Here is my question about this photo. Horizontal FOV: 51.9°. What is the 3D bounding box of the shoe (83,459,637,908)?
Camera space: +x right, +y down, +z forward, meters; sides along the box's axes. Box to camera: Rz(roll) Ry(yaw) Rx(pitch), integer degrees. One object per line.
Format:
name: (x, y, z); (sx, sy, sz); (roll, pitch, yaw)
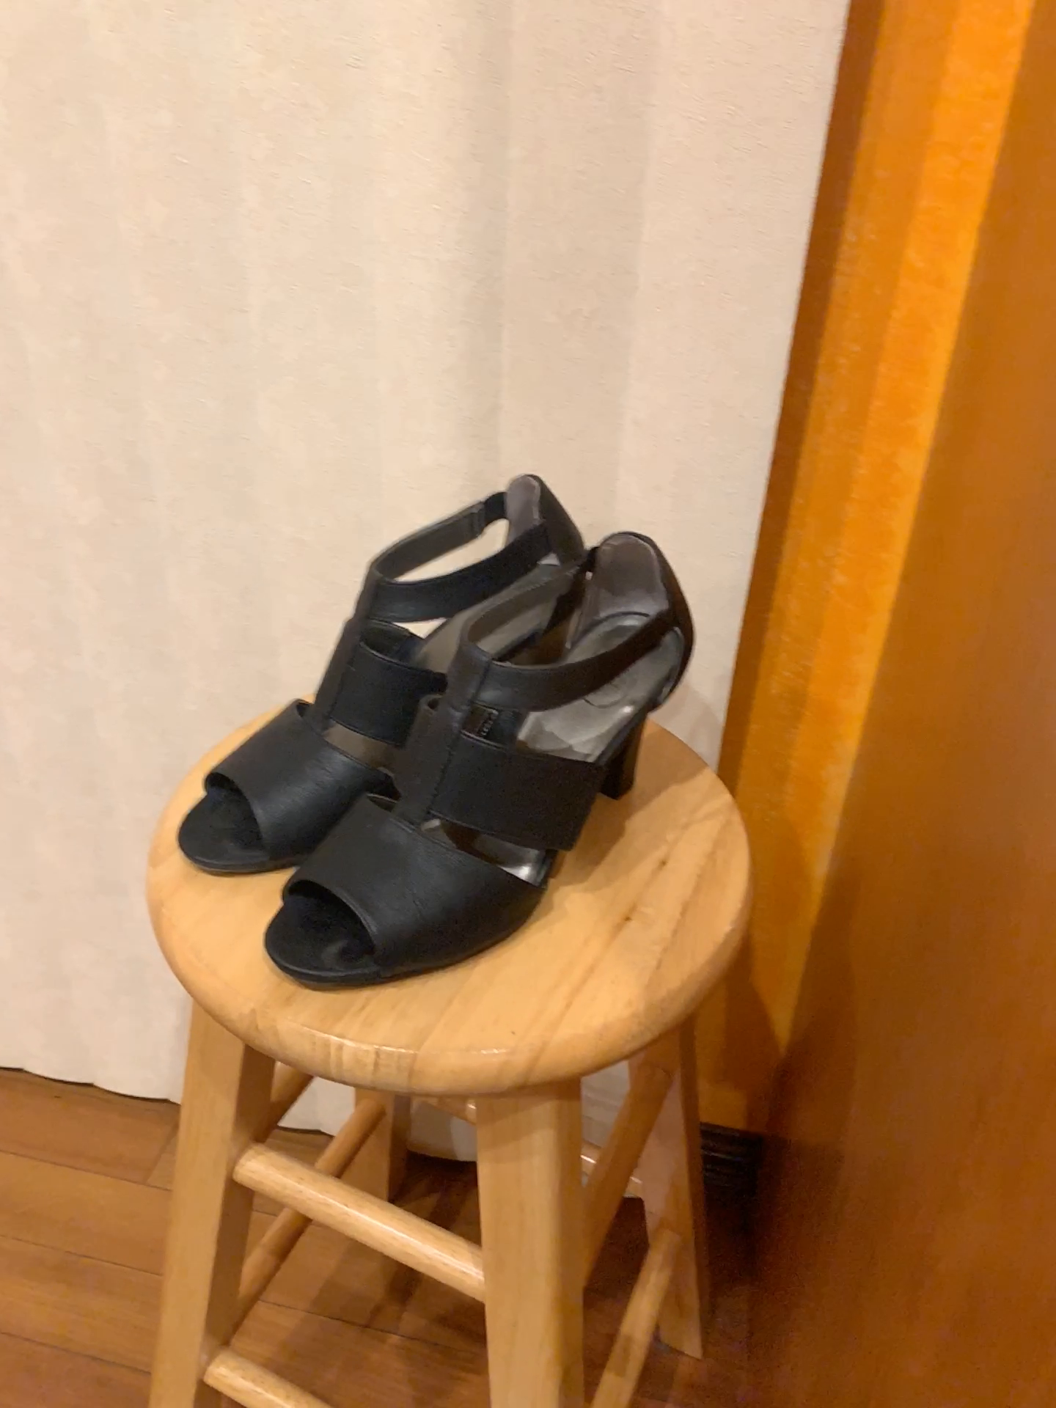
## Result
shoe: (-0.069, -0.024, 0.533); (0.244, 0.125, 0.090); (-23, 40, -35)

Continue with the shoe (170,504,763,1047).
shoe: (-0.017, 0.015, 0.478); (0.234, 0.130, 0.100); (-25, 41, -37)
